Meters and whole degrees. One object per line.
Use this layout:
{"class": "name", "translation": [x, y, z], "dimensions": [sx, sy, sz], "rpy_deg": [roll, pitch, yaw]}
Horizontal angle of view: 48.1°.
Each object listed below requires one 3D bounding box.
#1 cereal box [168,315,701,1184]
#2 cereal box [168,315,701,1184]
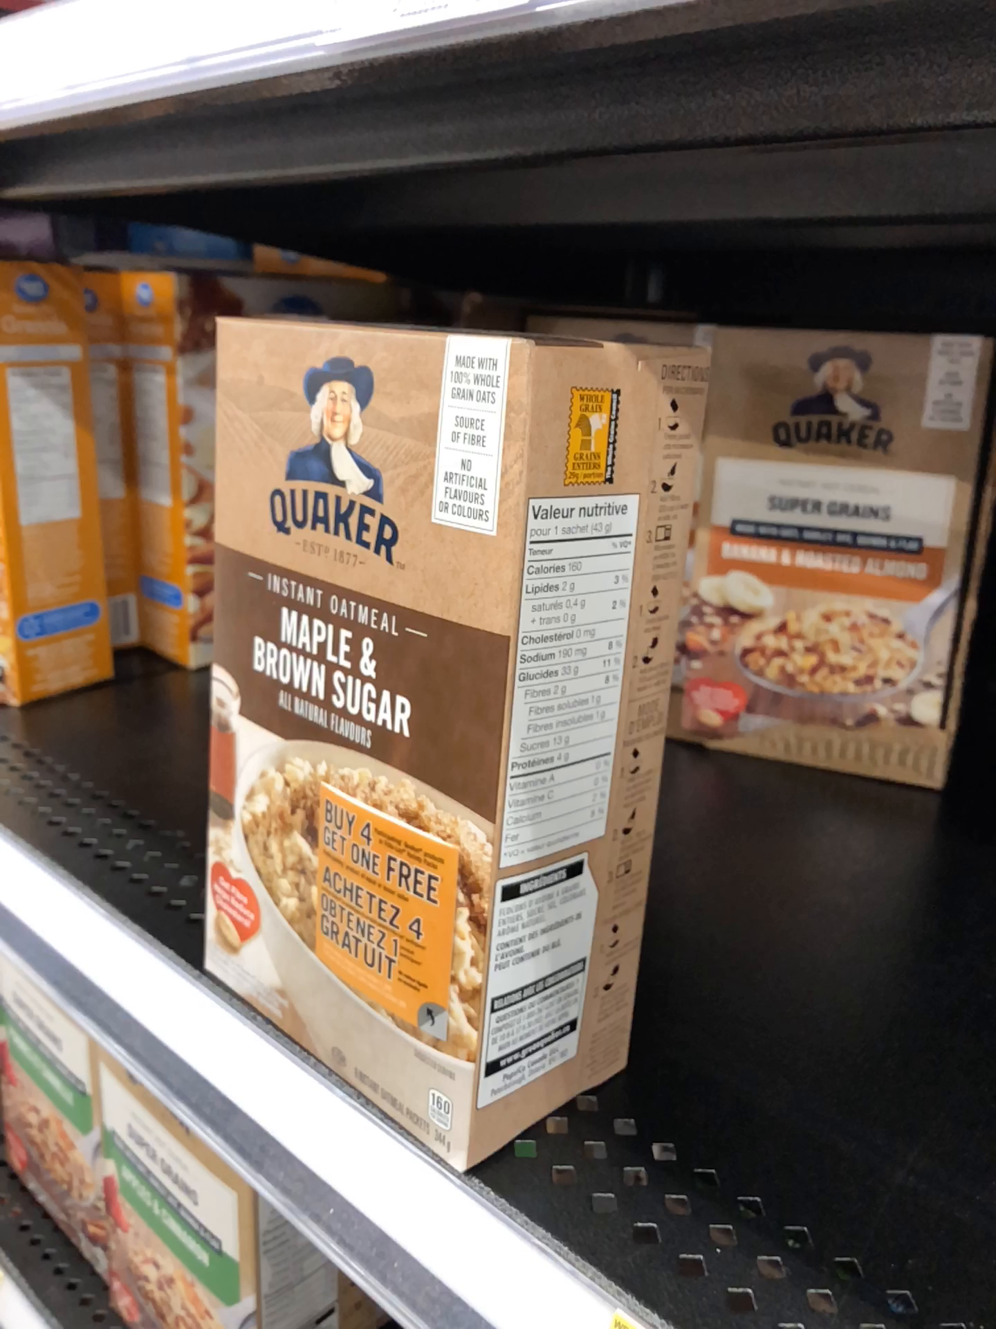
{"class": "cereal box", "translation": [-0.027, 0.009, 0.299], "dimensions": [0.060, 0.189, 0.130], "rpy_deg": [-12, 22, -43]}
{"class": "cereal box", "translation": [-0.027, 0.009, 0.299], "dimensions": [0.060, 0.189, 0.130], "rpy_deg": [-12, 22, -43]}
